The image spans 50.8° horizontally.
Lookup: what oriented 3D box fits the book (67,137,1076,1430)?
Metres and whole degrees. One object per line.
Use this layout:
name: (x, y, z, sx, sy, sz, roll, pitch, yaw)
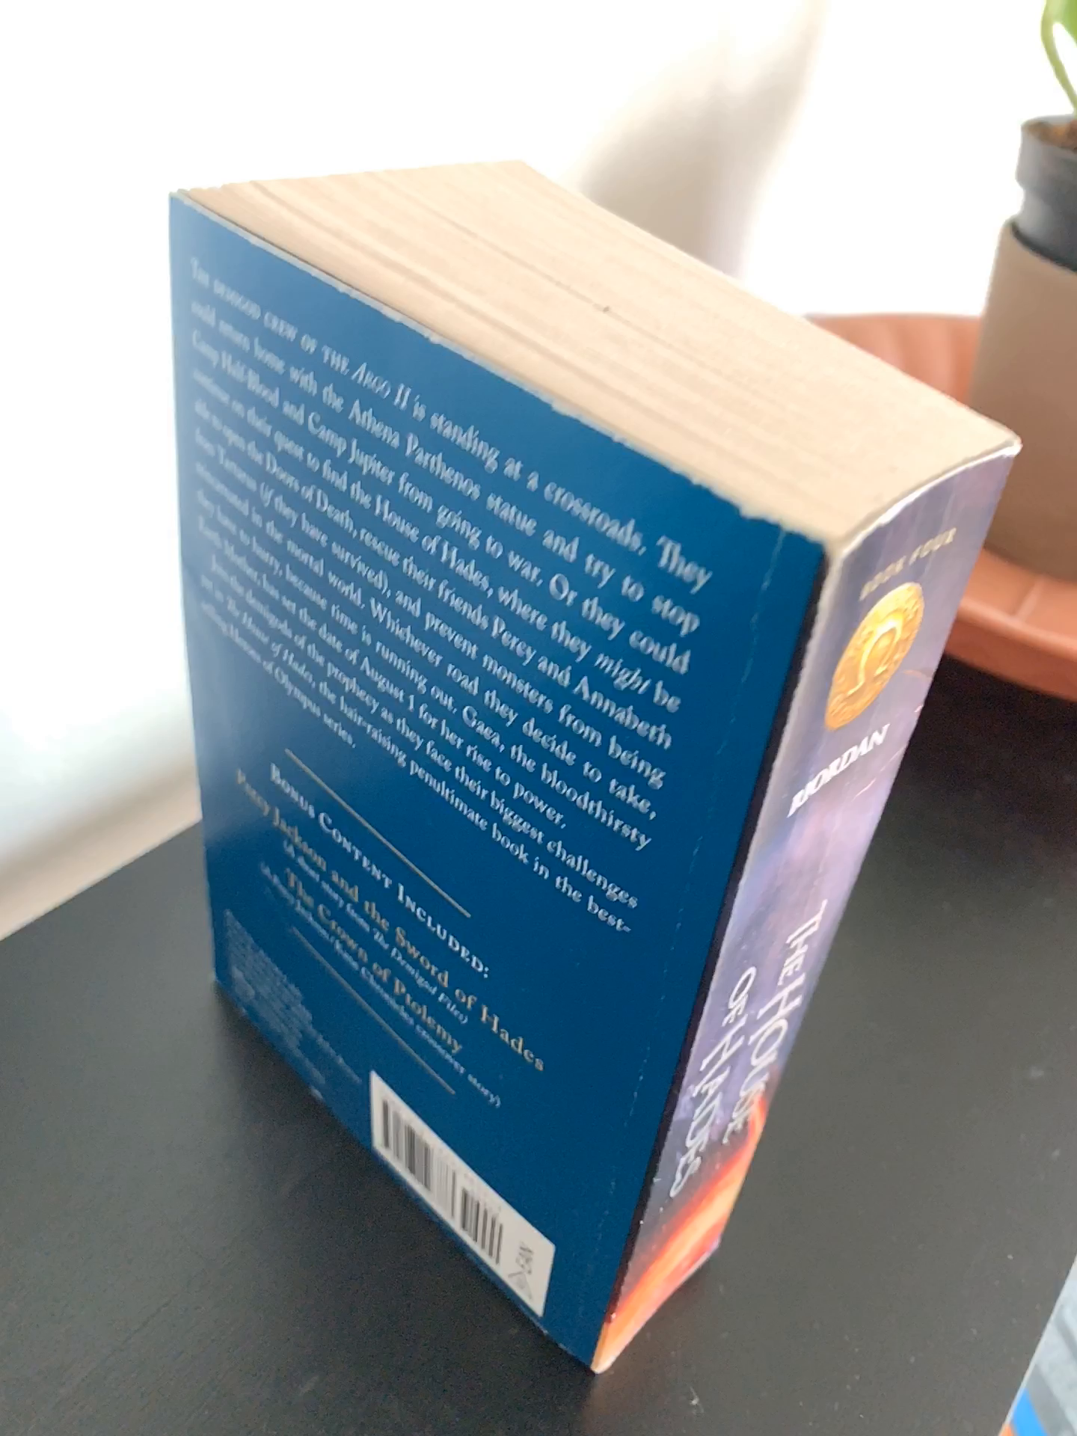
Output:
book: (-0.001, 0.007, 0.210, 0.078, 0.176, 0.145, -28, 48, -37)
